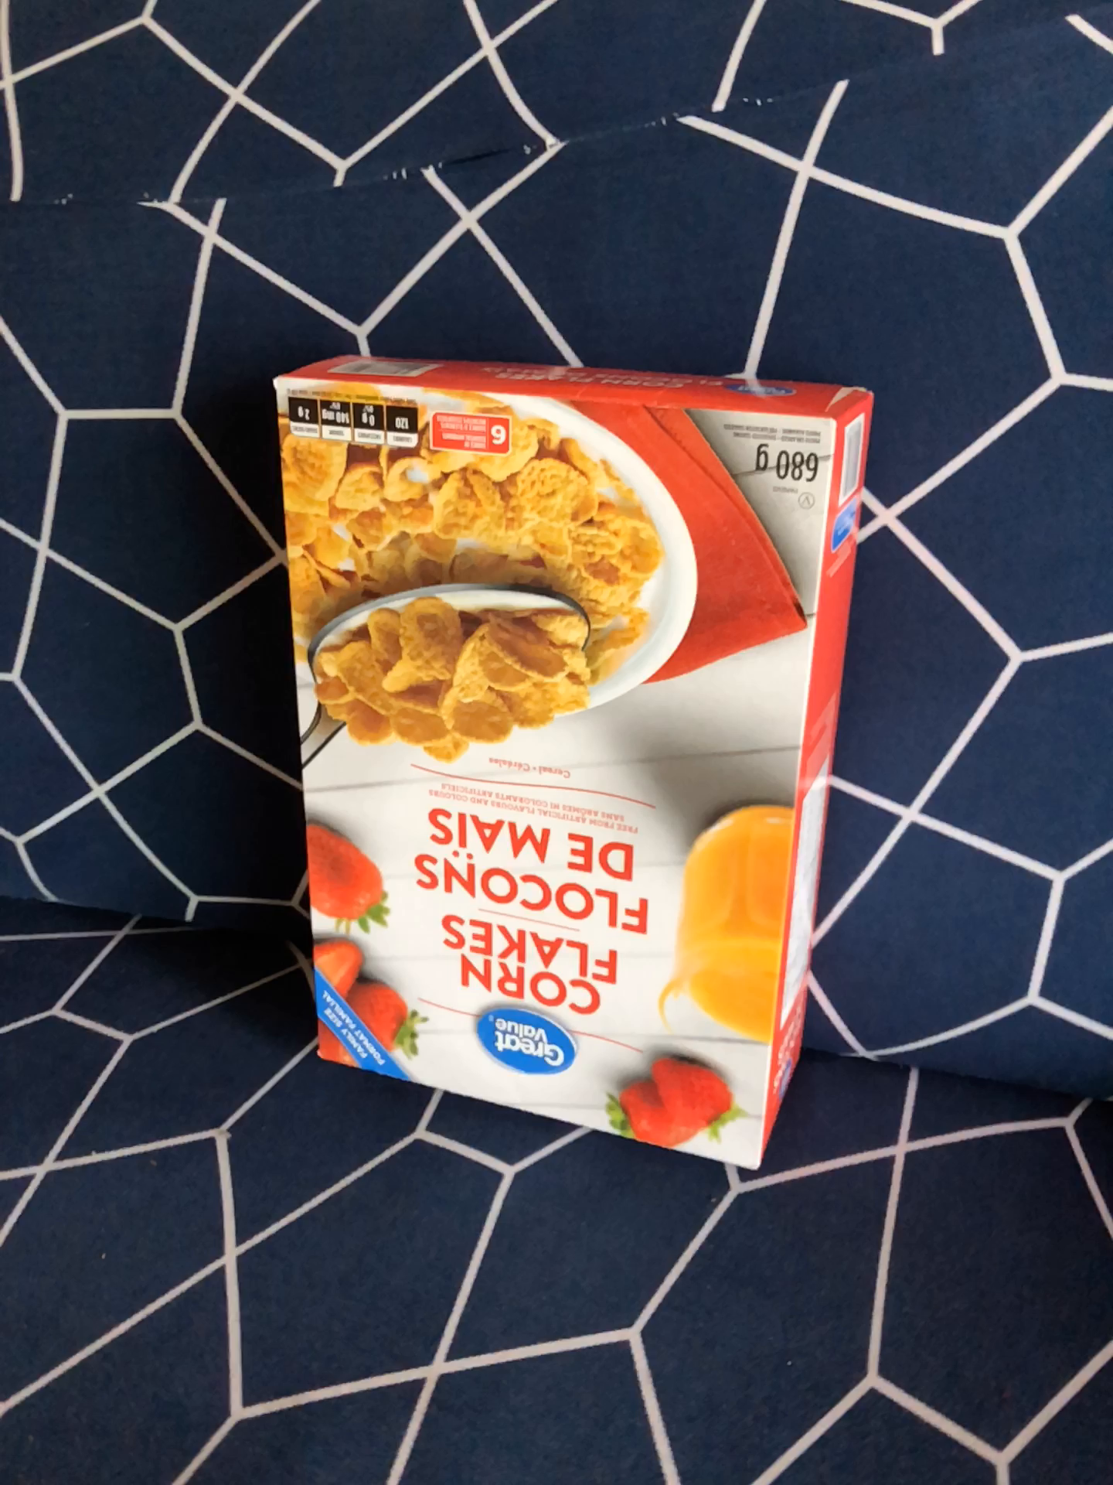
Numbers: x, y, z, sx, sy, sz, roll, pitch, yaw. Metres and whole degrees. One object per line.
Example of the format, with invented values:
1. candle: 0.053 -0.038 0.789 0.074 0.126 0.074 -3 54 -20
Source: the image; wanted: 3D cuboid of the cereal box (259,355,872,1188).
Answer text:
1. cereal box: 0.002 0.004 0.538 0.220 0.318 0.100 9 22 20
